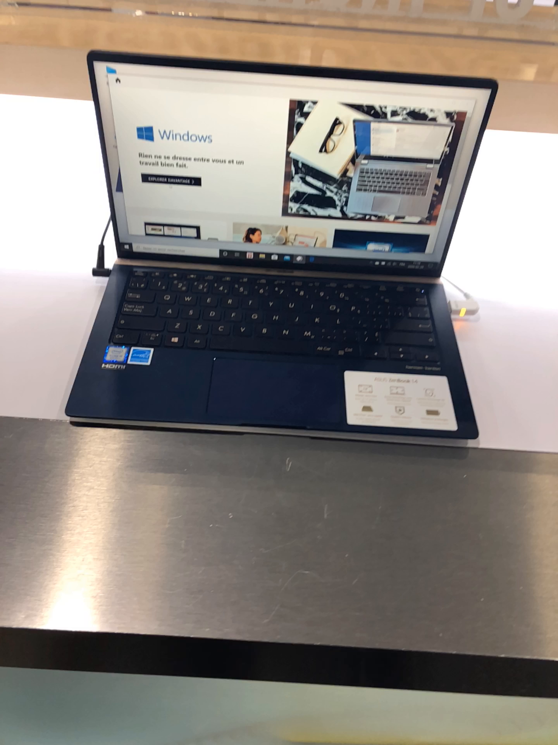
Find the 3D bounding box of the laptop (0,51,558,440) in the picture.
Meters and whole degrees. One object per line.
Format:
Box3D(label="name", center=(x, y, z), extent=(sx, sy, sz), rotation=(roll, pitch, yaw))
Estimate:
Box3D(label="laptop", center=(0.004, -0.090, 0.446), extent=(0.301, 0.182, 0.192), rotation=(3, 46, -3))
